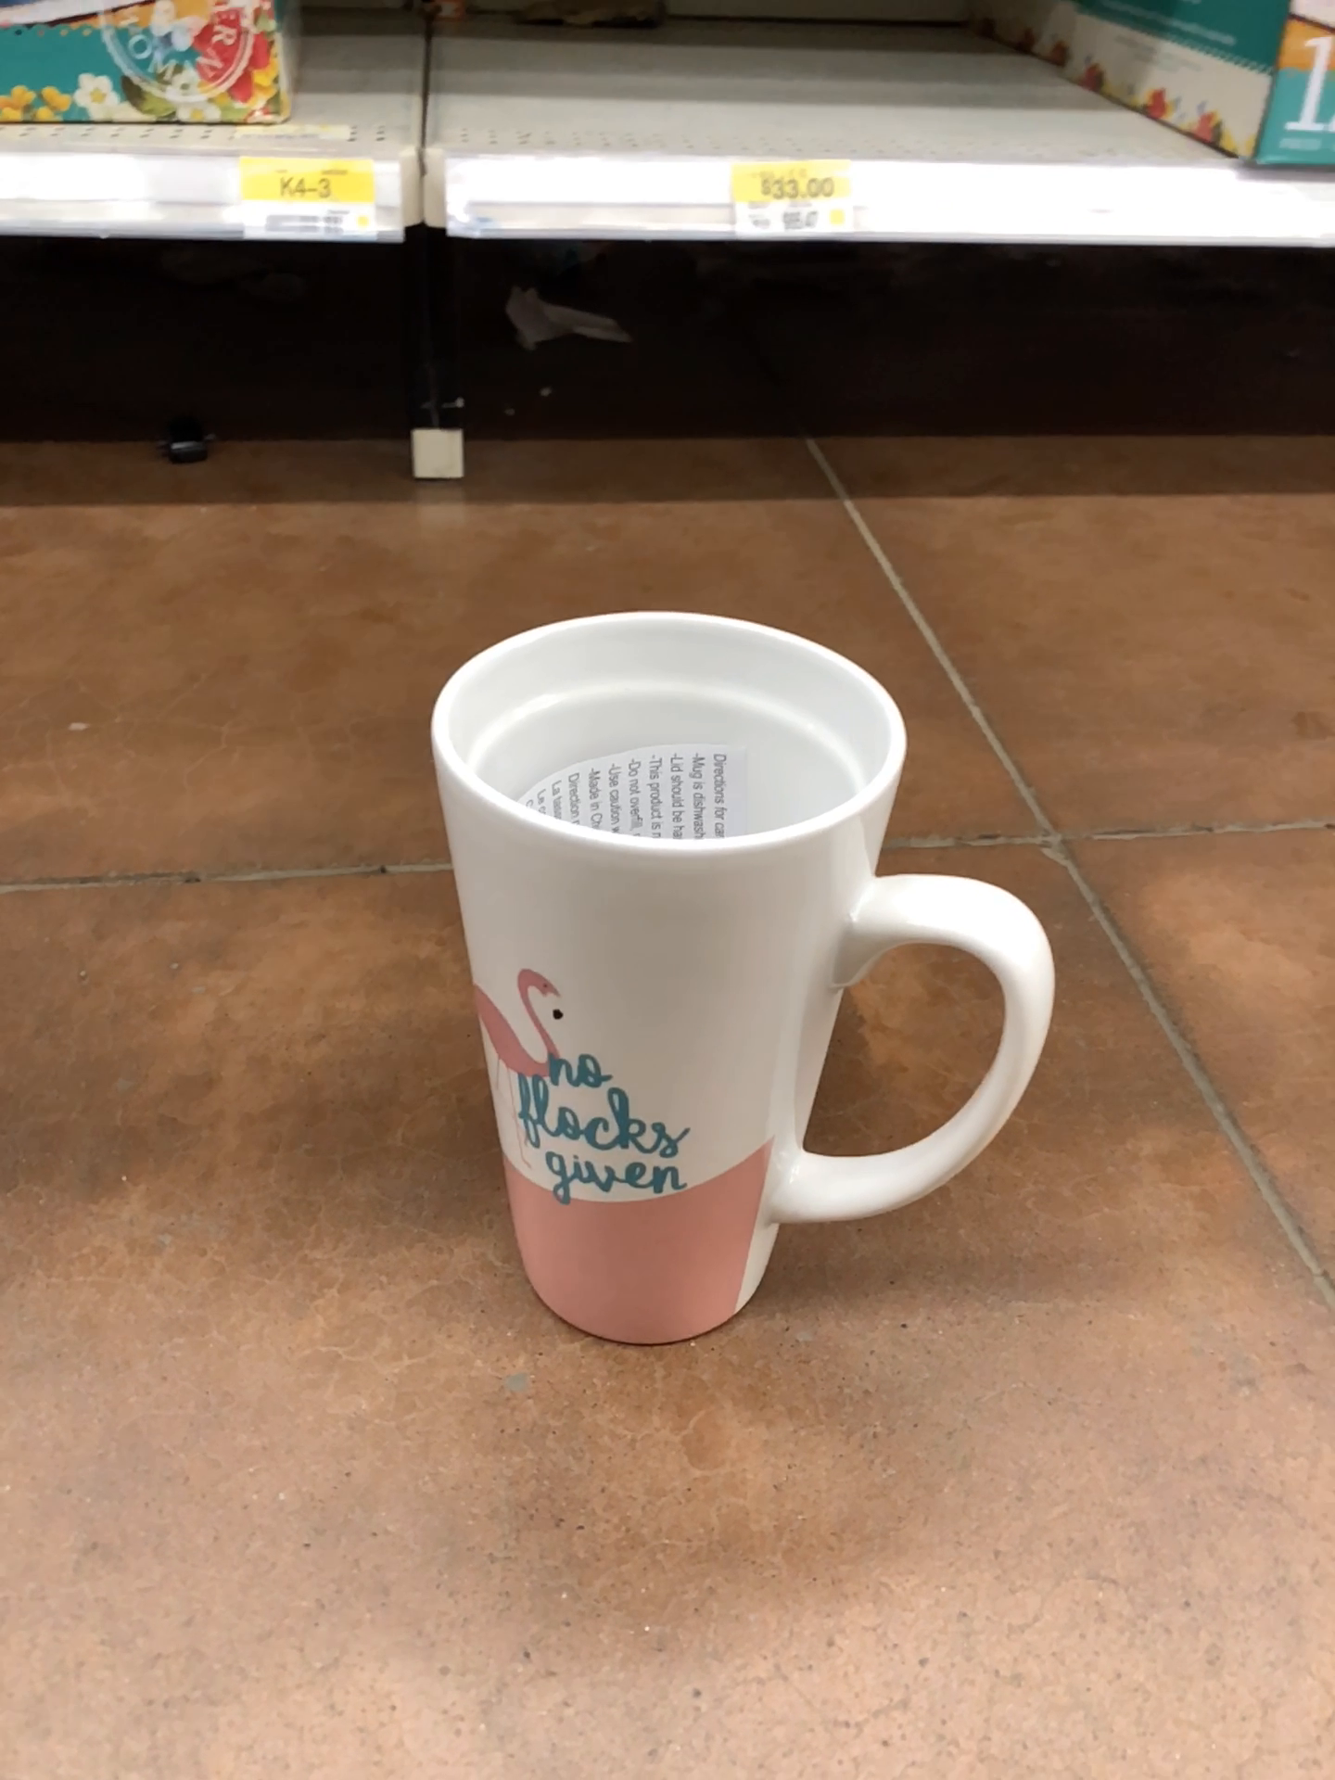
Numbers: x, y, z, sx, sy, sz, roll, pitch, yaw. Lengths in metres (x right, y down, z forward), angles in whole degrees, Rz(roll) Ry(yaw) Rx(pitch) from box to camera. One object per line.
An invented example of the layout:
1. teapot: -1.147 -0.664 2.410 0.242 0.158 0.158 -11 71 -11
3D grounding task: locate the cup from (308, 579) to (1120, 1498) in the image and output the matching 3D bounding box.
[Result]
1. cup: 0.012 0.027 0.324 0.130 0.139 0.100 14 36 16
